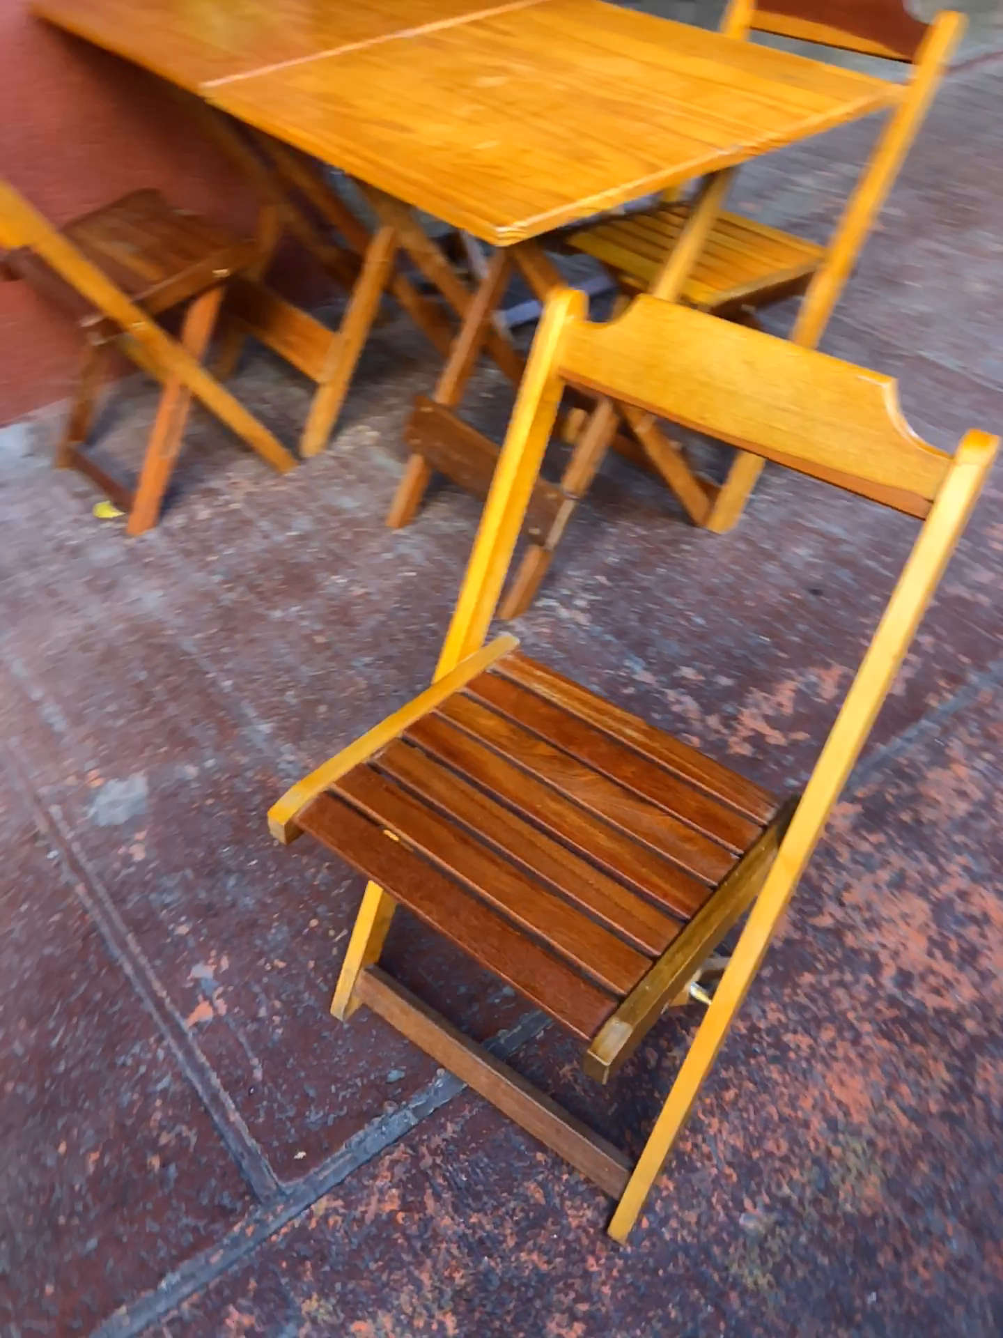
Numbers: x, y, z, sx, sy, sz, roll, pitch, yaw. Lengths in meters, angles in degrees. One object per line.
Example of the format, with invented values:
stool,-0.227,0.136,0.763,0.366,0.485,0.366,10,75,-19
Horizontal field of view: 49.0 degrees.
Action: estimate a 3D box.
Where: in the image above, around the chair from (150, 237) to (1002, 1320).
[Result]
chair,0.092,0.109,0.994,0.451,0.735,0.472,29,51,26
